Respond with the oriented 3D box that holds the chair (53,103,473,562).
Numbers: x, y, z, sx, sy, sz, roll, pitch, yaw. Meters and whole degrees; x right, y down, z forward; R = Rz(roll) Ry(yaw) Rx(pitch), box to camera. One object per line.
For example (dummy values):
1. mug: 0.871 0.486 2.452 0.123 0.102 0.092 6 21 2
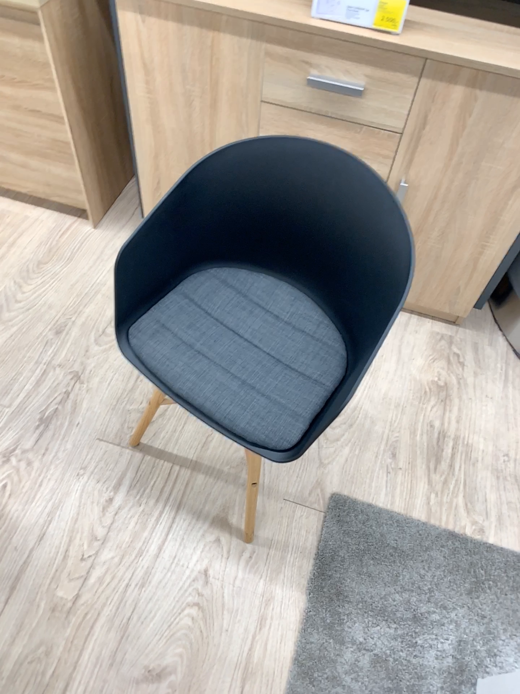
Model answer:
1. chair: 0.003 0.009 1.234 0.511 0.787 0.551 32 57 17
